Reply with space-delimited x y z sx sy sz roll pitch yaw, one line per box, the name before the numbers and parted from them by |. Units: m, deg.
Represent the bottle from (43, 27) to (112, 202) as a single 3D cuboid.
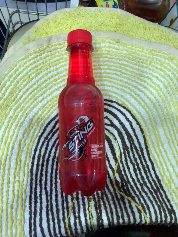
bottle | -0.014 -0.007 0.201 0.060 0.040 0.170 -2 86 -7
